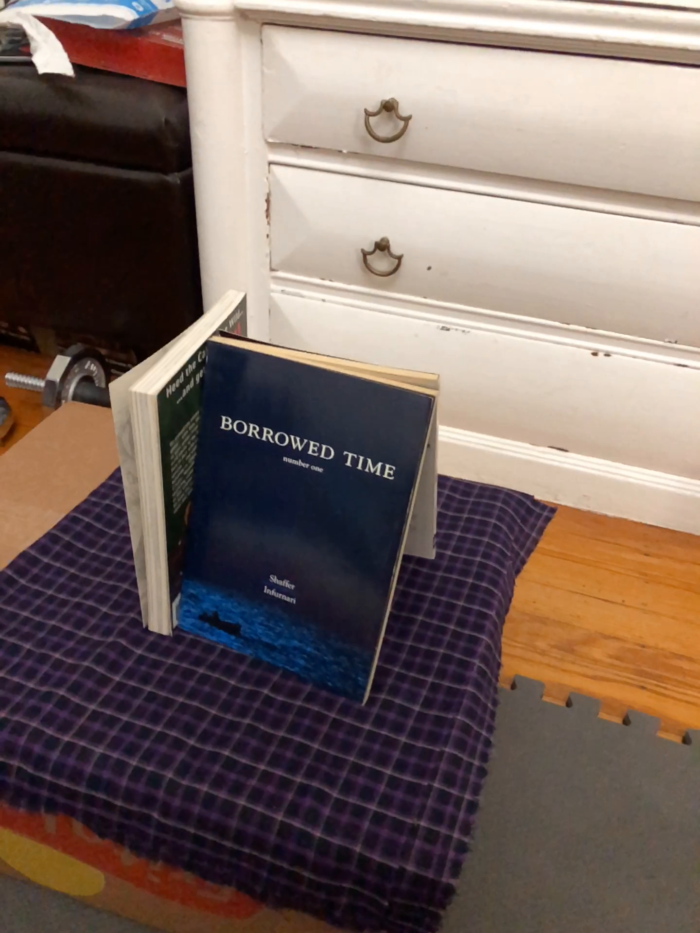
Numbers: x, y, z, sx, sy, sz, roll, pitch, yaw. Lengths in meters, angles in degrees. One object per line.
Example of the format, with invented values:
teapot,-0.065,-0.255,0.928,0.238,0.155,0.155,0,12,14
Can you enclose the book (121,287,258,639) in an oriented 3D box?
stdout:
book,-0.104,-0.003,0.507,0.020,0.189,0.141,17,37,8

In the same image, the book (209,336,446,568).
book,-0.007,-0.001,0.518,0.140,0.199,0.010,12,55,14

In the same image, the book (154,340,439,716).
book,-0.040,0.038,0.466,0.150,0.199,0.010,15,17,15
